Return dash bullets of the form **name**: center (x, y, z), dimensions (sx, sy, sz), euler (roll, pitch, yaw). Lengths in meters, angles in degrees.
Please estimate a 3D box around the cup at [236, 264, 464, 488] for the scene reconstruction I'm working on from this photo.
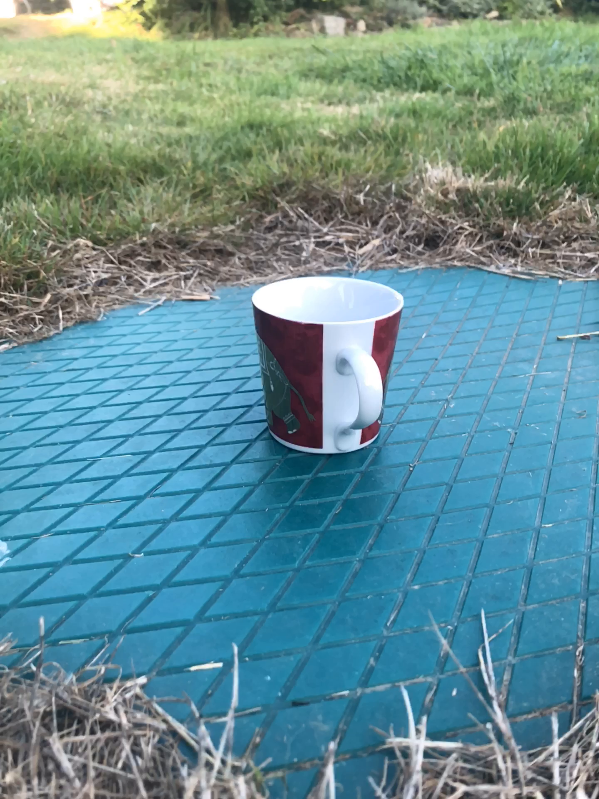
- **cup**: center (0.019, -0.019, 0.345), dimensions (0.082, 0.070, 0.110), euler (-7, 26, -14)
